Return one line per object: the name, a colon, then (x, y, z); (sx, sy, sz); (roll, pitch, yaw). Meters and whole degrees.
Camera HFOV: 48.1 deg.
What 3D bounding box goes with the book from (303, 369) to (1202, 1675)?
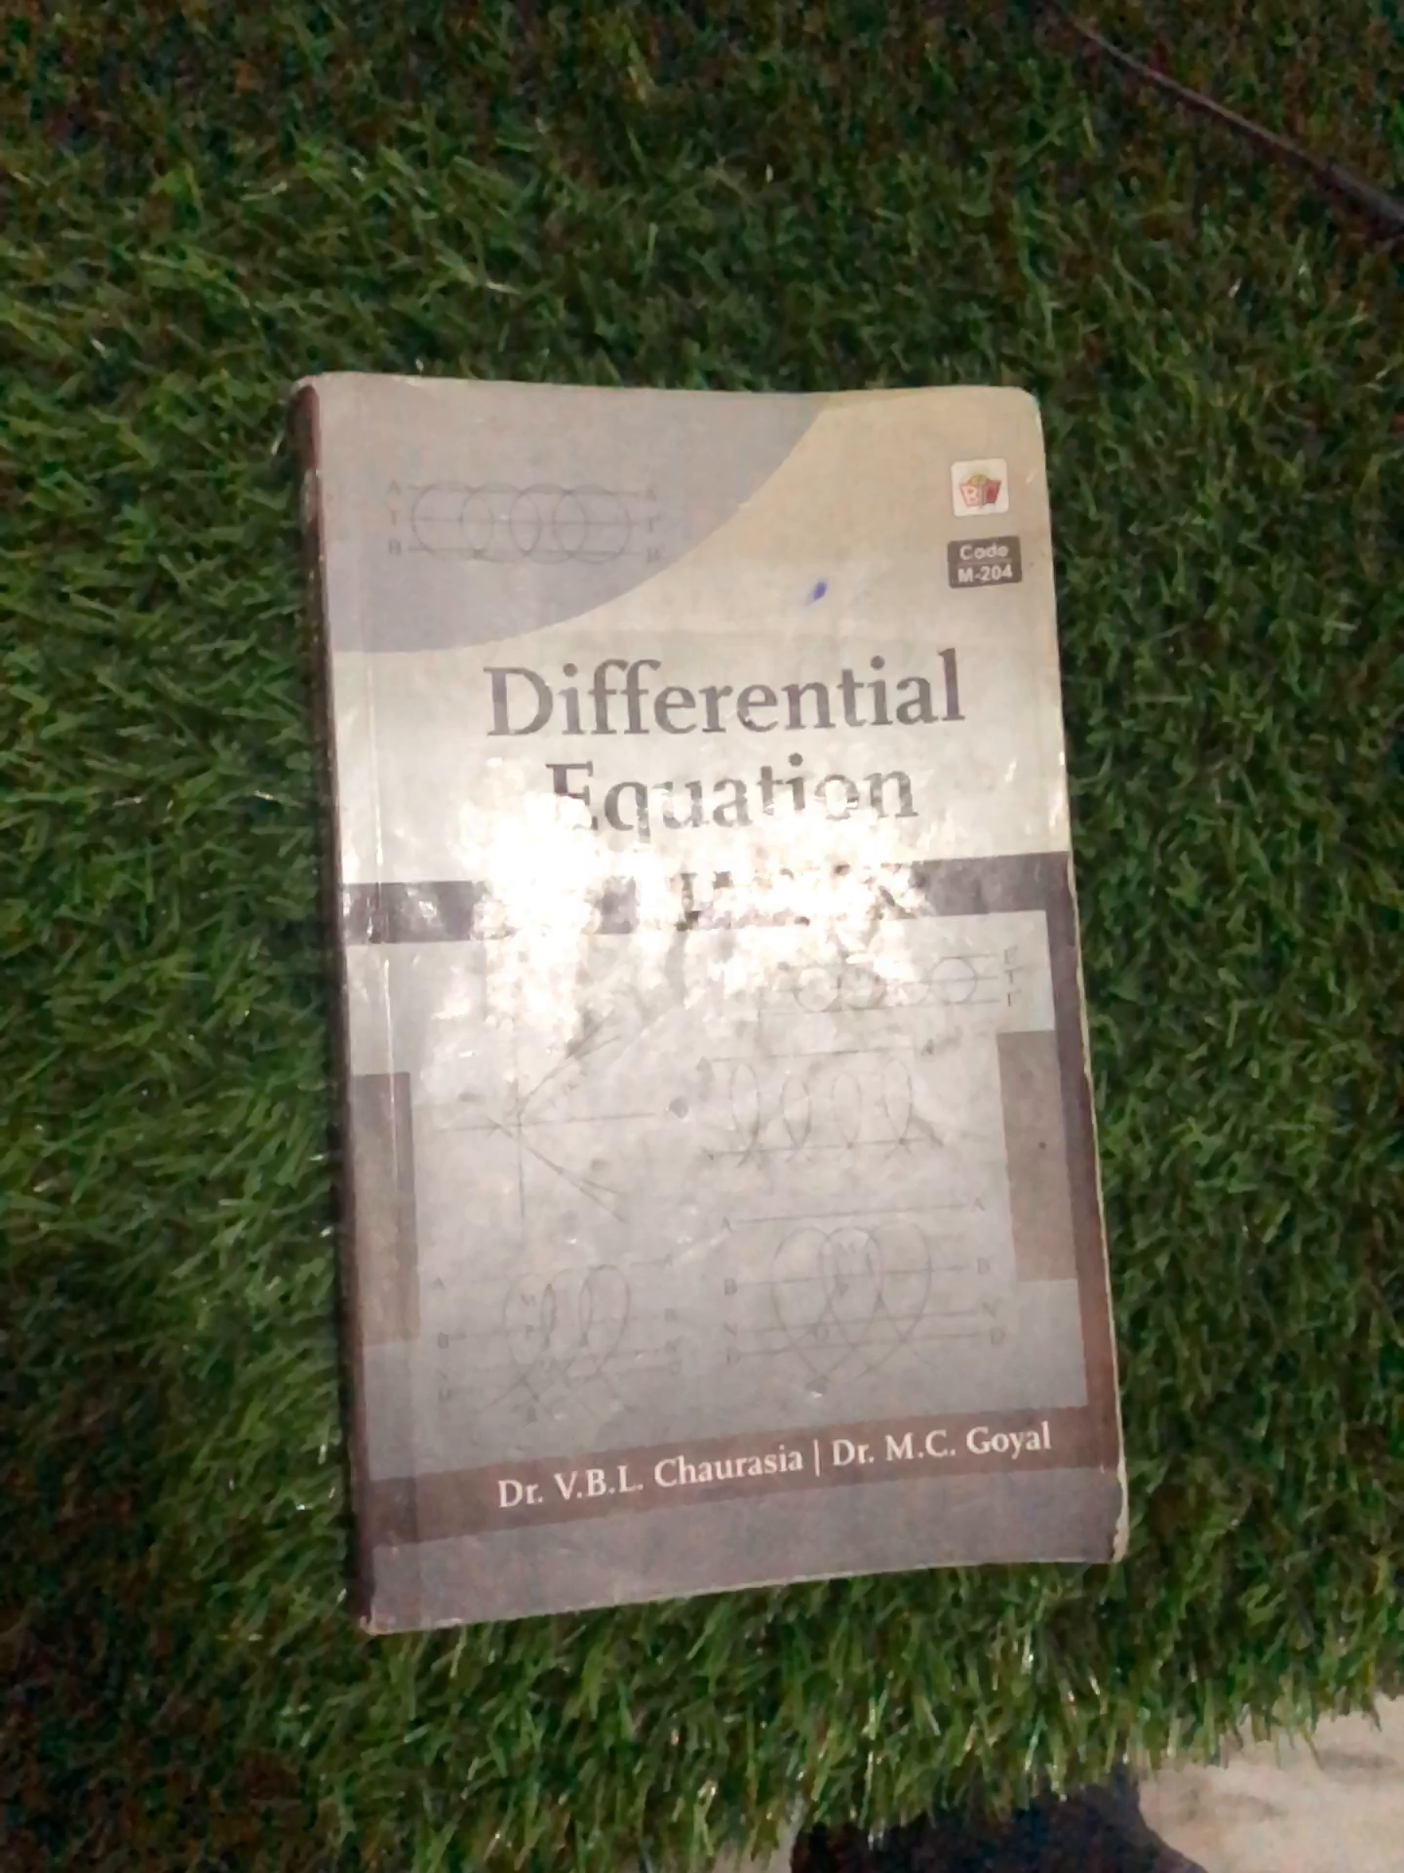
book: (0.007, 0.008, 0.272); (0.140, 0.030, 0.200); (-2, 85, -14)
